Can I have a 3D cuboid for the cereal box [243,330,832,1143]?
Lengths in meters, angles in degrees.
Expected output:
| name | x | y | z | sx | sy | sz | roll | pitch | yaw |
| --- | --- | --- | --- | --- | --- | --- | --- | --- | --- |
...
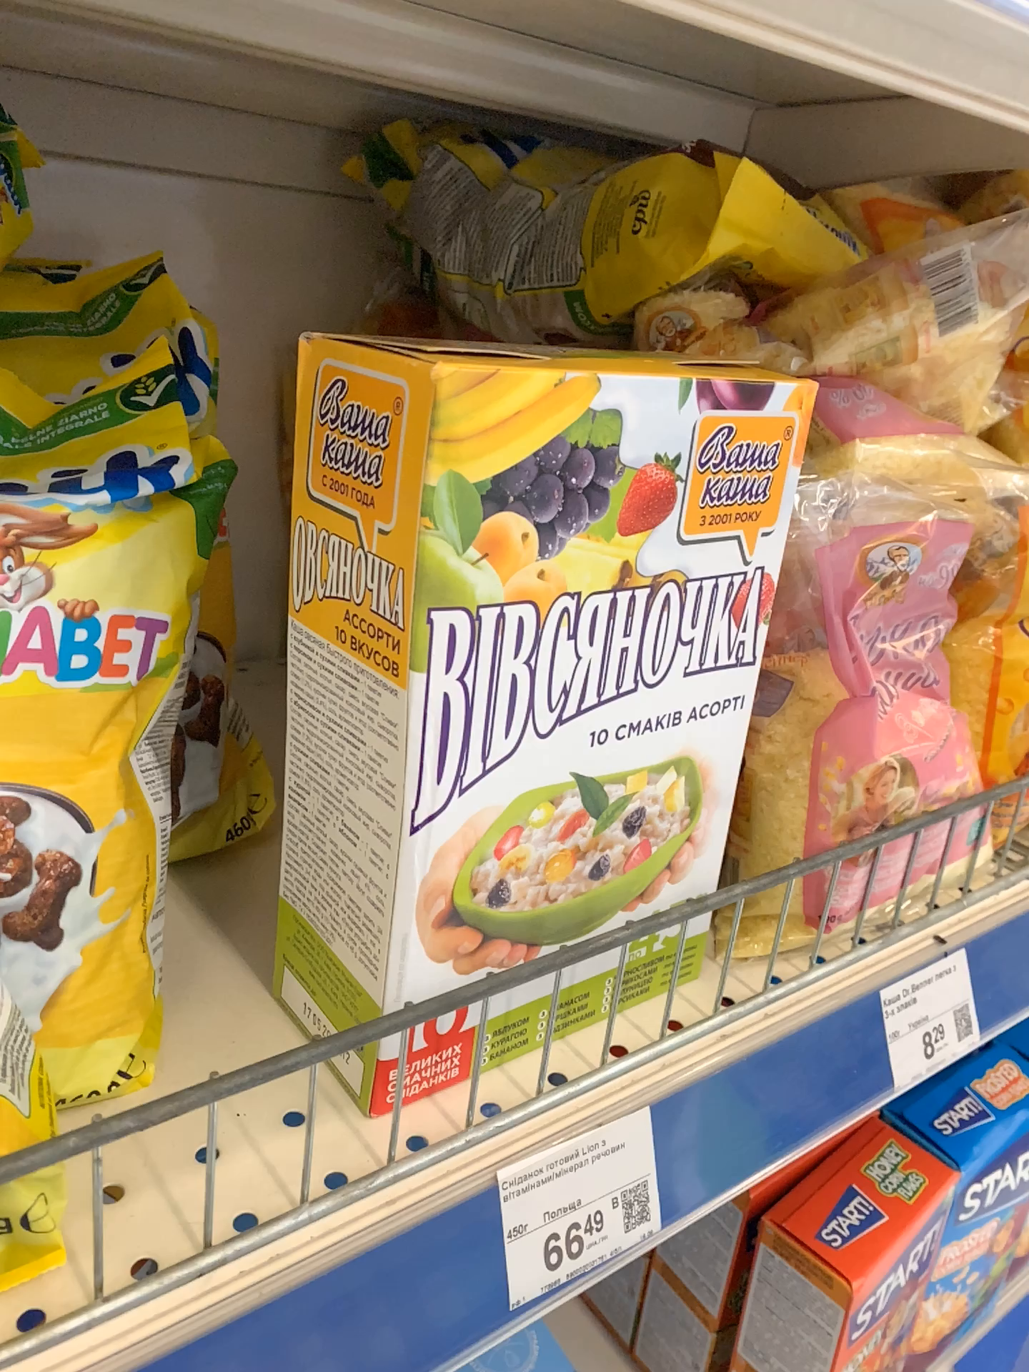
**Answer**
| name | x | y | z | sx | sy | sz | roll | pitch | yaw |
| --- | --- | --- | --- | --- | --- | --- | --- | --- | --- |
| cereal box | 0.002 | 0.007 | 0.330 | 0.150 | 0.209 | 0.070 | -9 | 25 | -36 |
